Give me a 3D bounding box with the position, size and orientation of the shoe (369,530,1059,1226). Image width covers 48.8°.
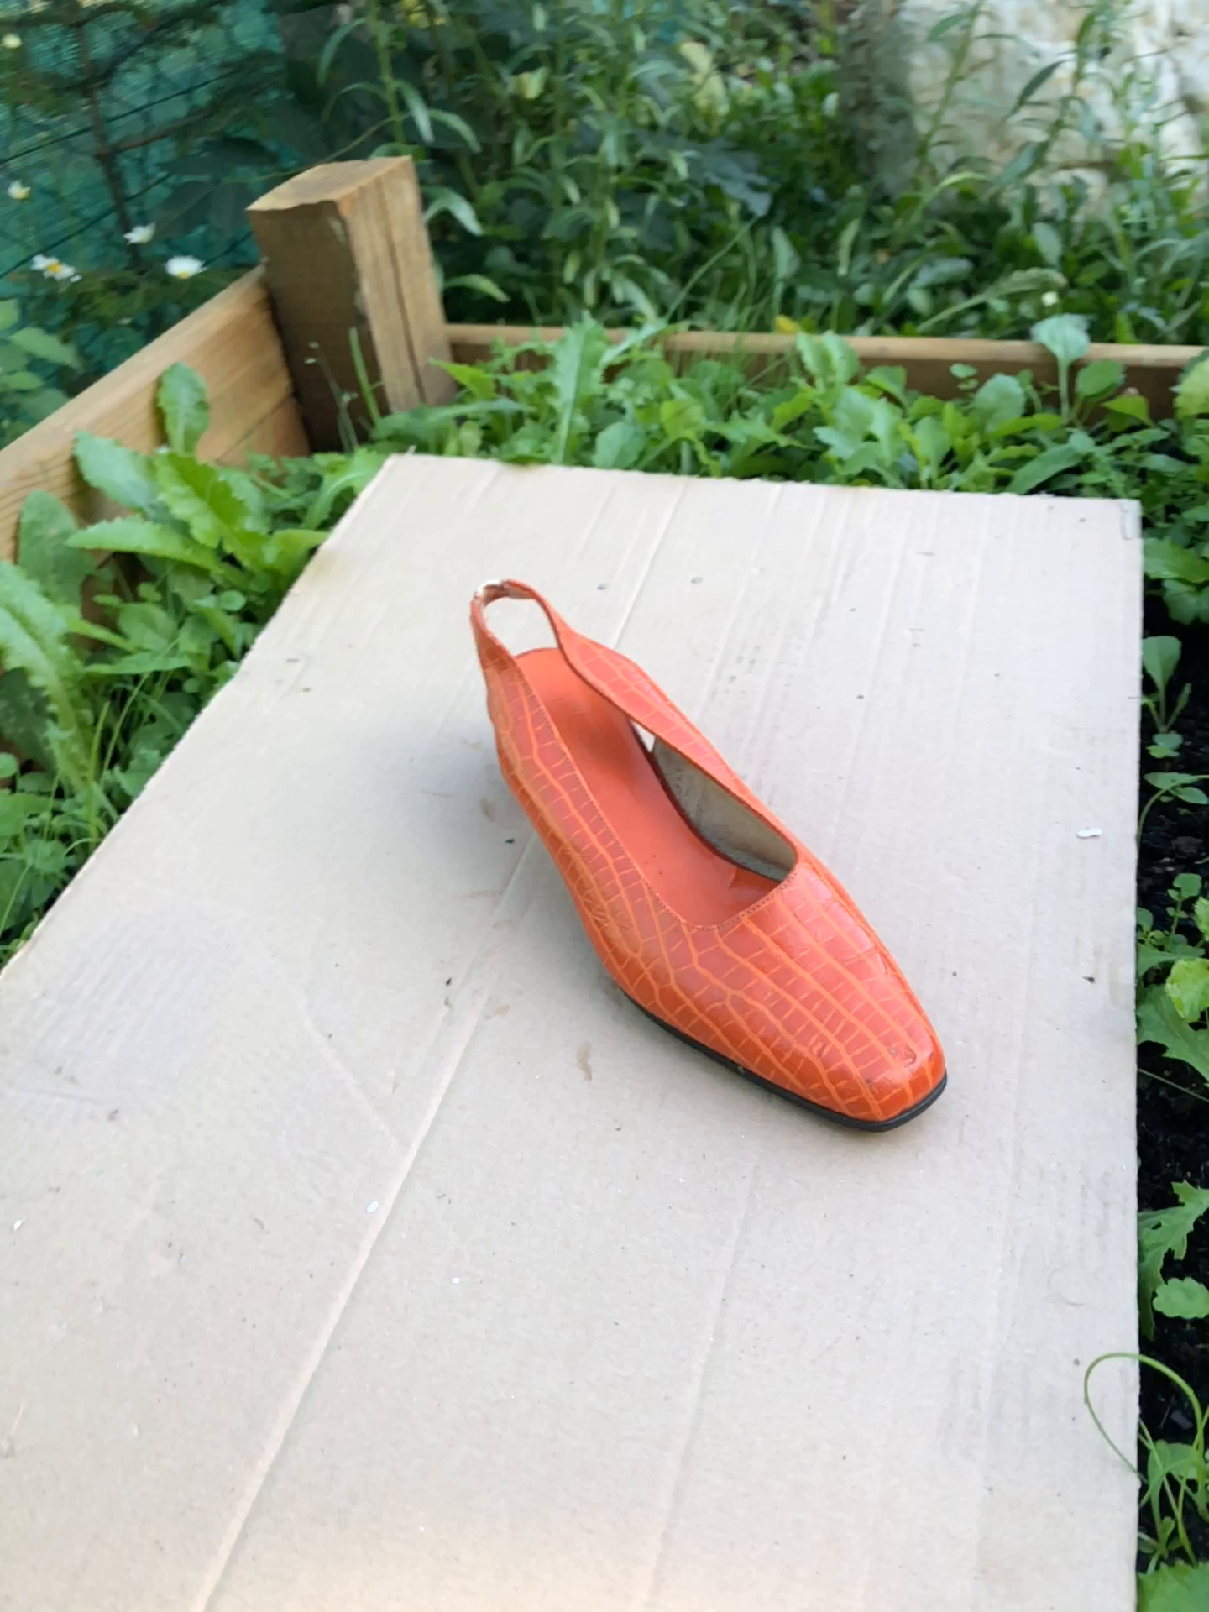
[{"bbox_3d":[0.022,0.006,0.472,0.090,0.090,0.261,-26,45,-23],"label":"shoe"}]
